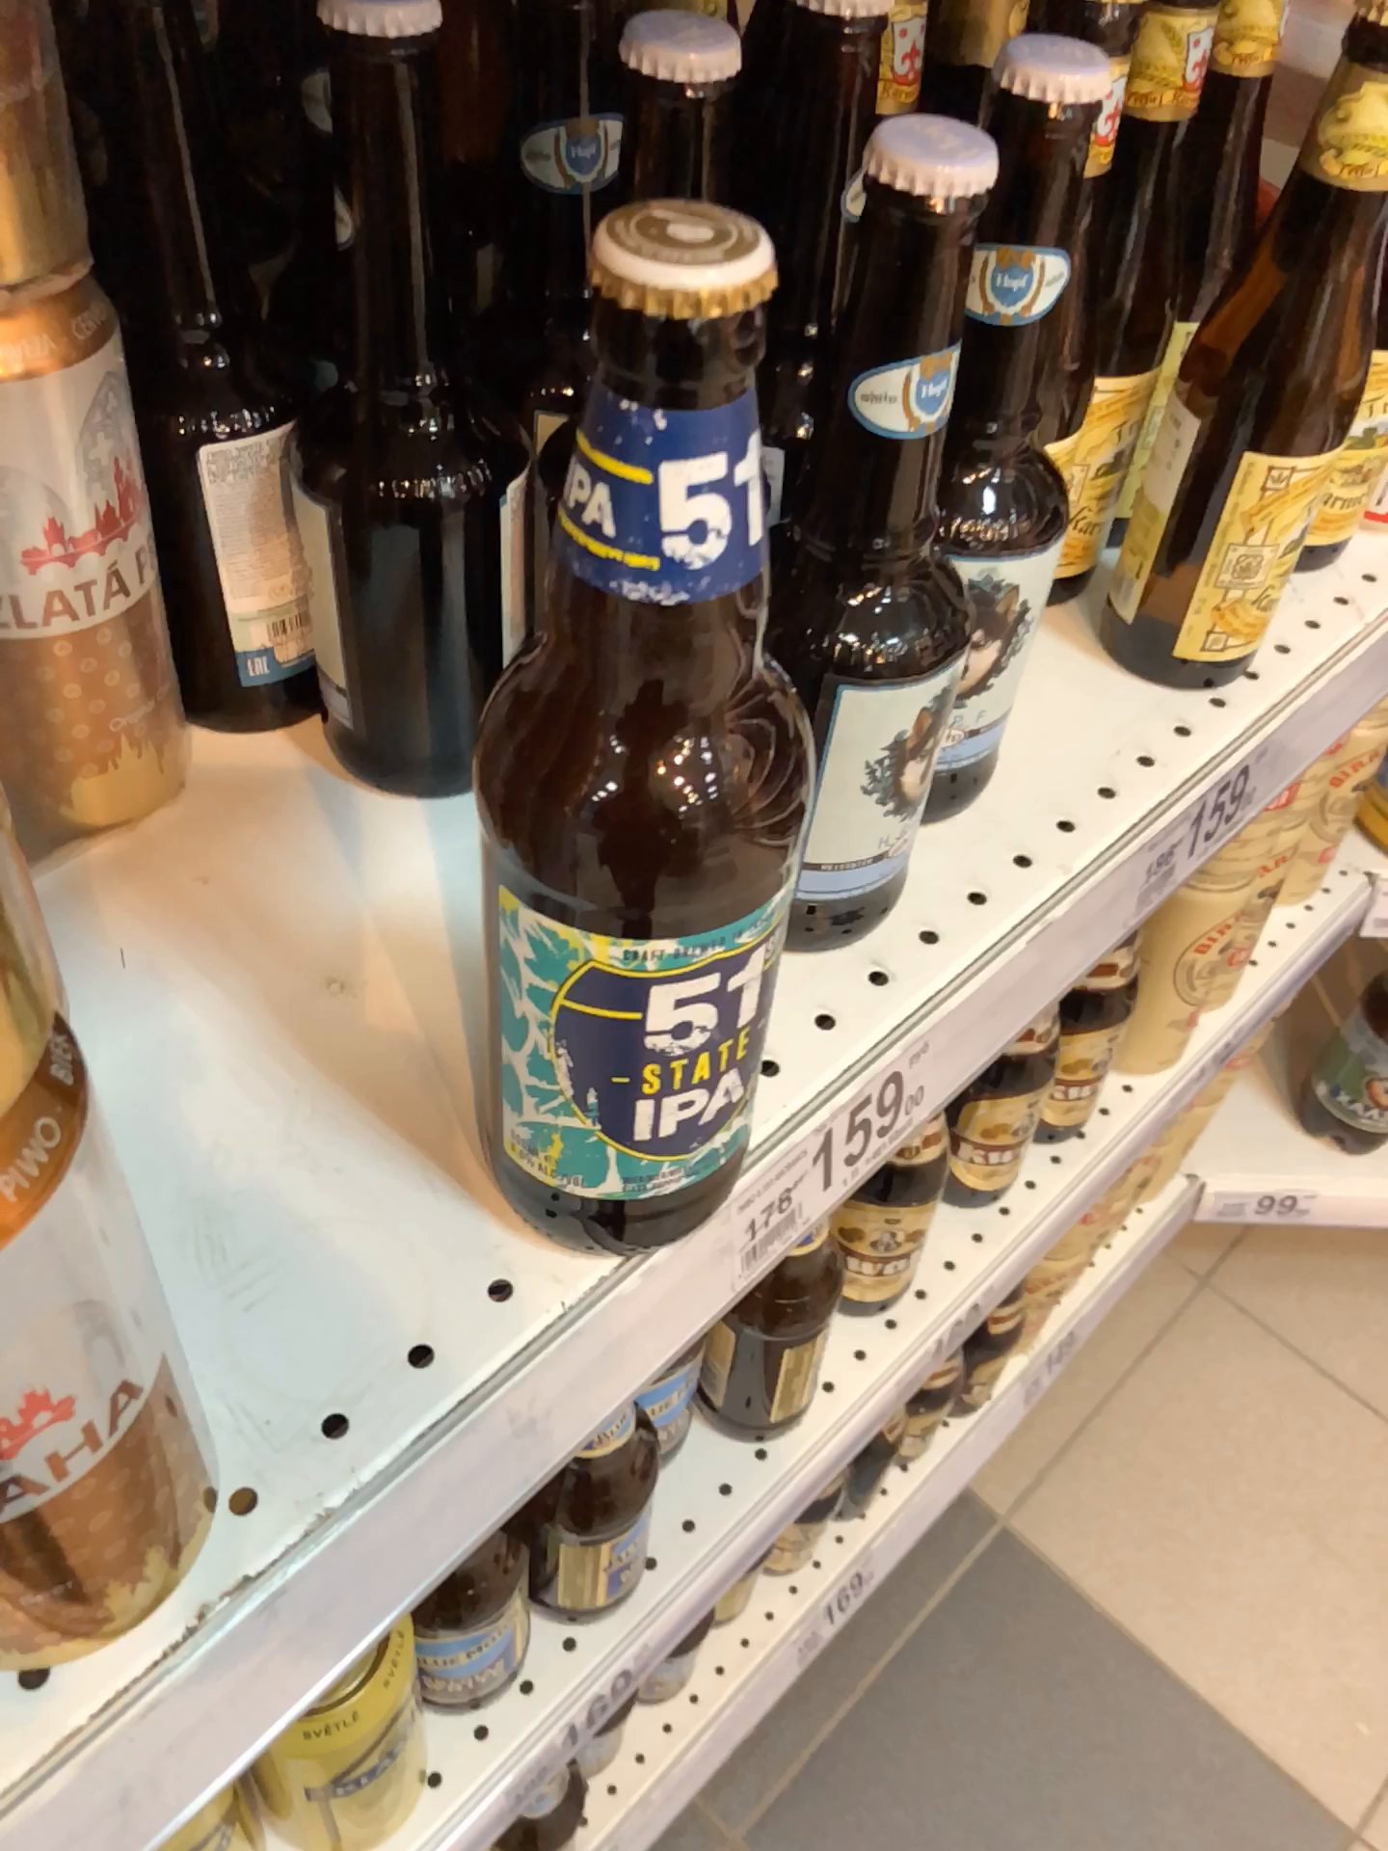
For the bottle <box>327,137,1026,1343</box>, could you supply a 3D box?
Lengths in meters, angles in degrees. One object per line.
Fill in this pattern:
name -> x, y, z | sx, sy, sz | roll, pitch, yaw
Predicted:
bottle -> -0.014, -0.019, 0.318 | 0.080, 0.239, 0.070 | -27, 56, -29
